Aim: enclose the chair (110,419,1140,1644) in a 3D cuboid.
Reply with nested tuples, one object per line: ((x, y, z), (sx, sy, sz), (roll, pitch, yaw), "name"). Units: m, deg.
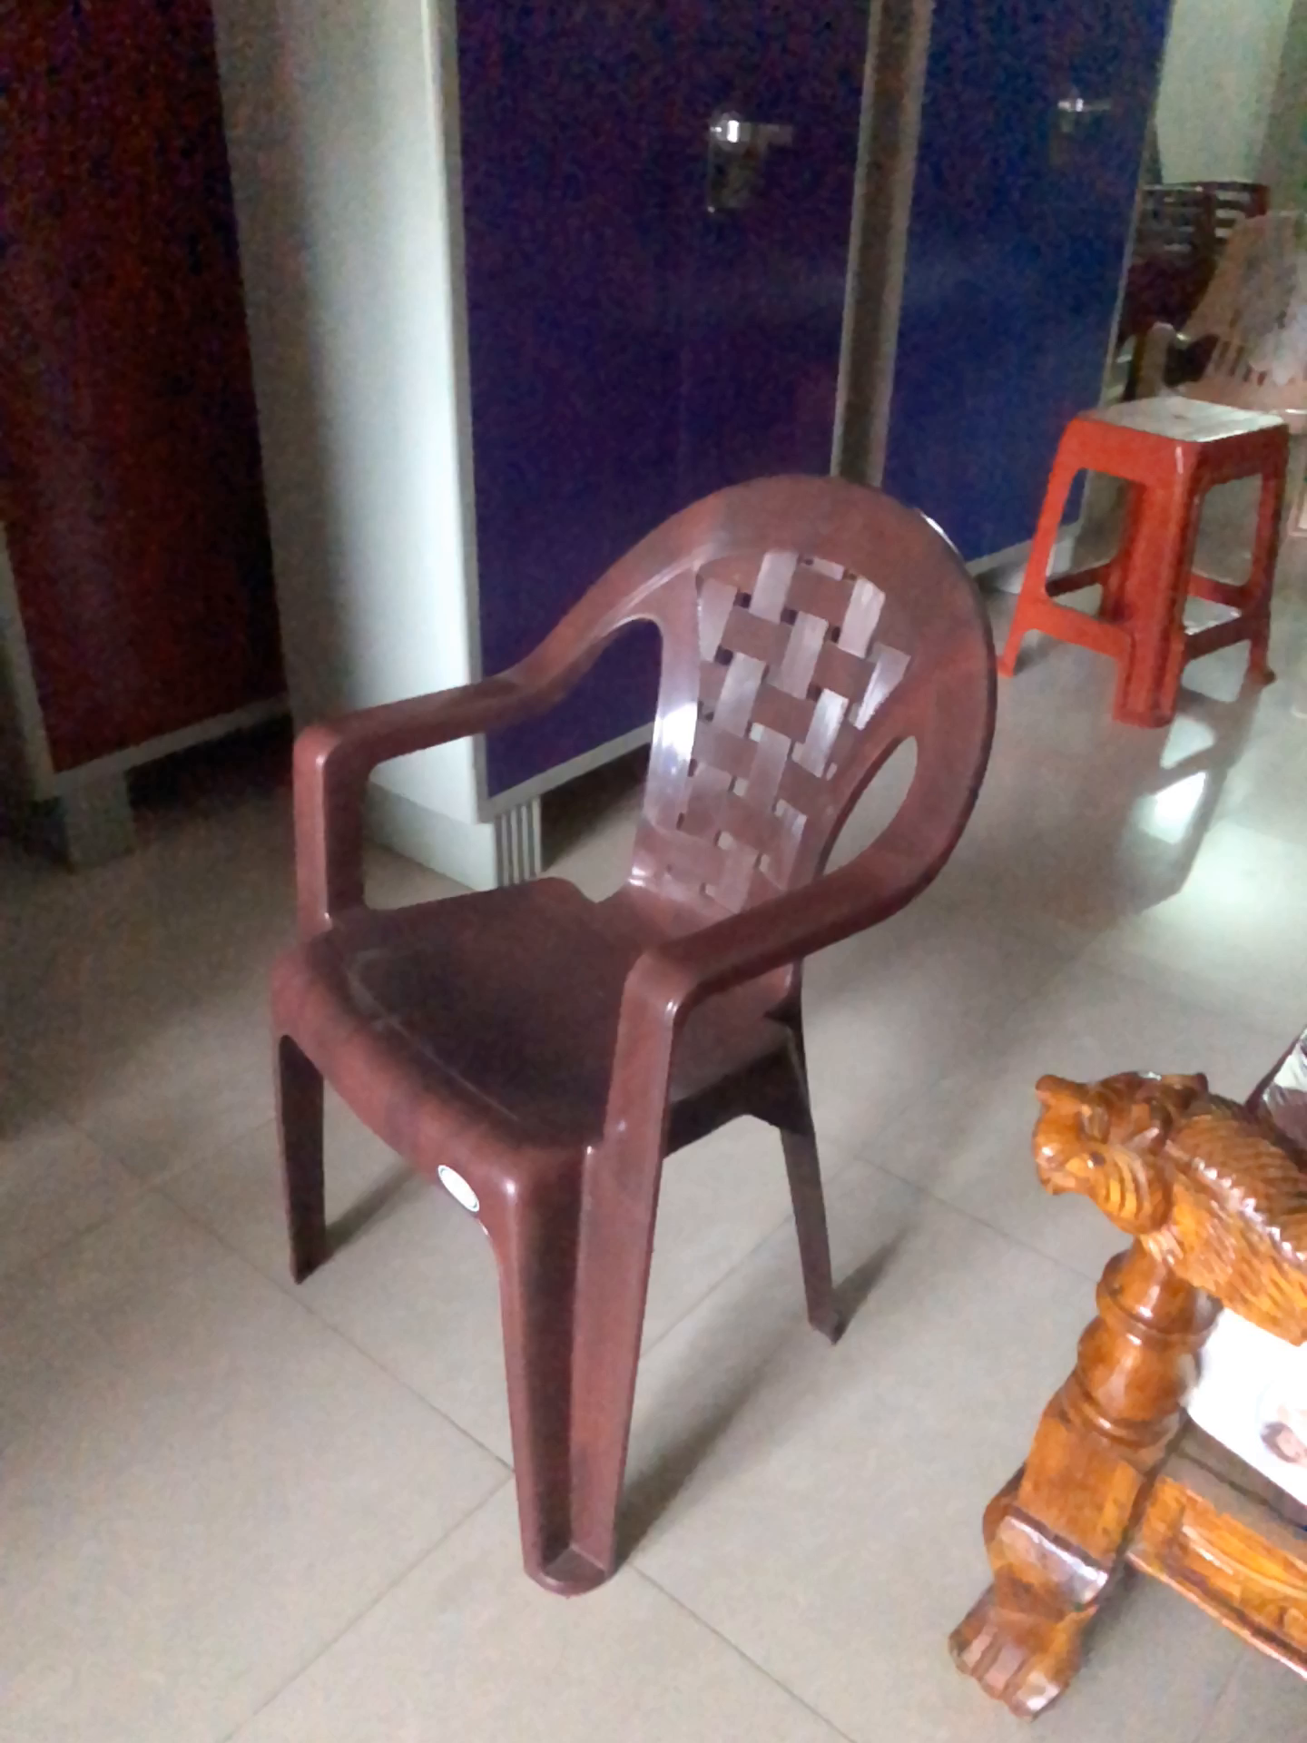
((-0.035, 0.083, 1.390), (0.612, 0.836, 0.601), (-23, 37, -35), "chair")
